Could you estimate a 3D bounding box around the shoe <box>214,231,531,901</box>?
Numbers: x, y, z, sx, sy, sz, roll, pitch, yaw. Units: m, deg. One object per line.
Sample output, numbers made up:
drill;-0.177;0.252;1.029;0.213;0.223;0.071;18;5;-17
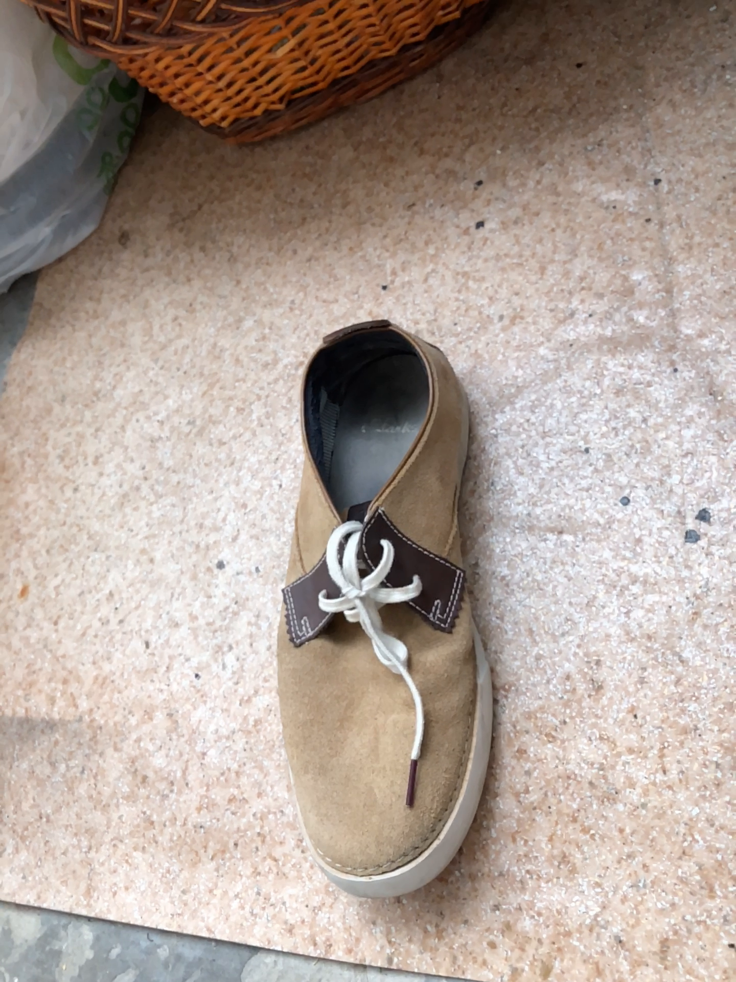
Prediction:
shoe;0.012;0.031;0.409;0.110;0.090;0.301;-8;65;24
